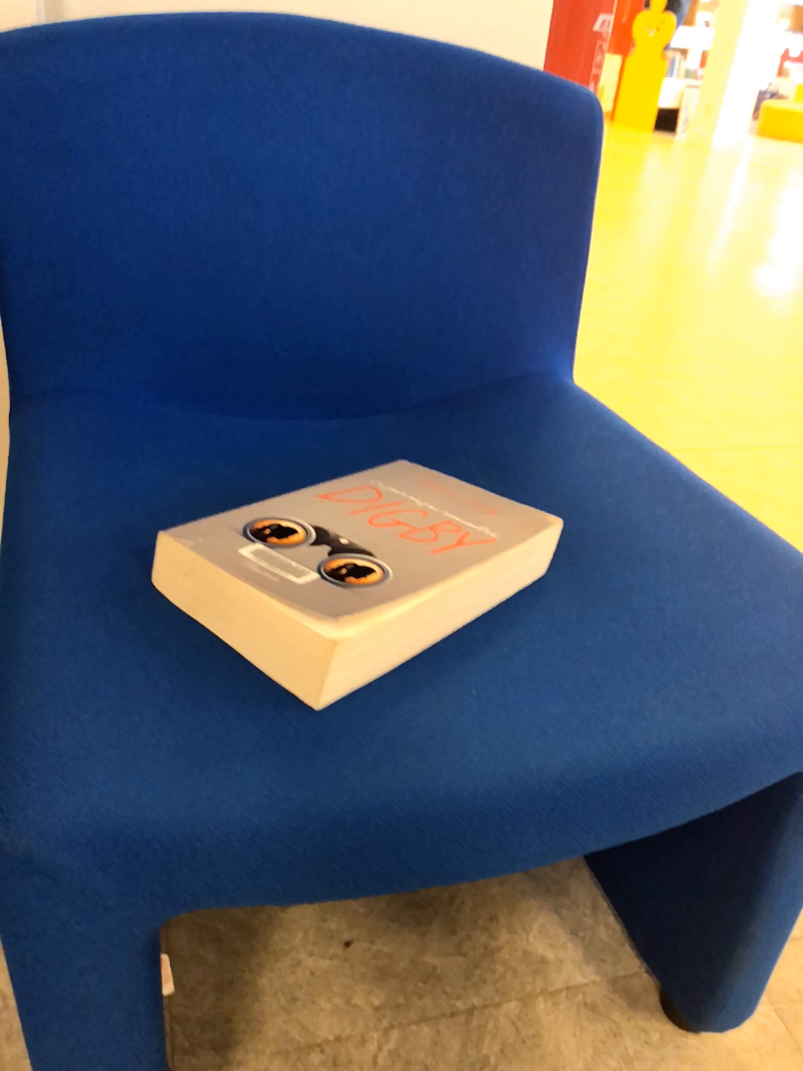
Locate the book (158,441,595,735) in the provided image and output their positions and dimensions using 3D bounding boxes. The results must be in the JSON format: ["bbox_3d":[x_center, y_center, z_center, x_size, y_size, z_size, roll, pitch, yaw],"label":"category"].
[{"bbox_3d":[-0.009,0.014,0.526,0.151,0.056,0.212,28,32,33],"label":"book"}]
